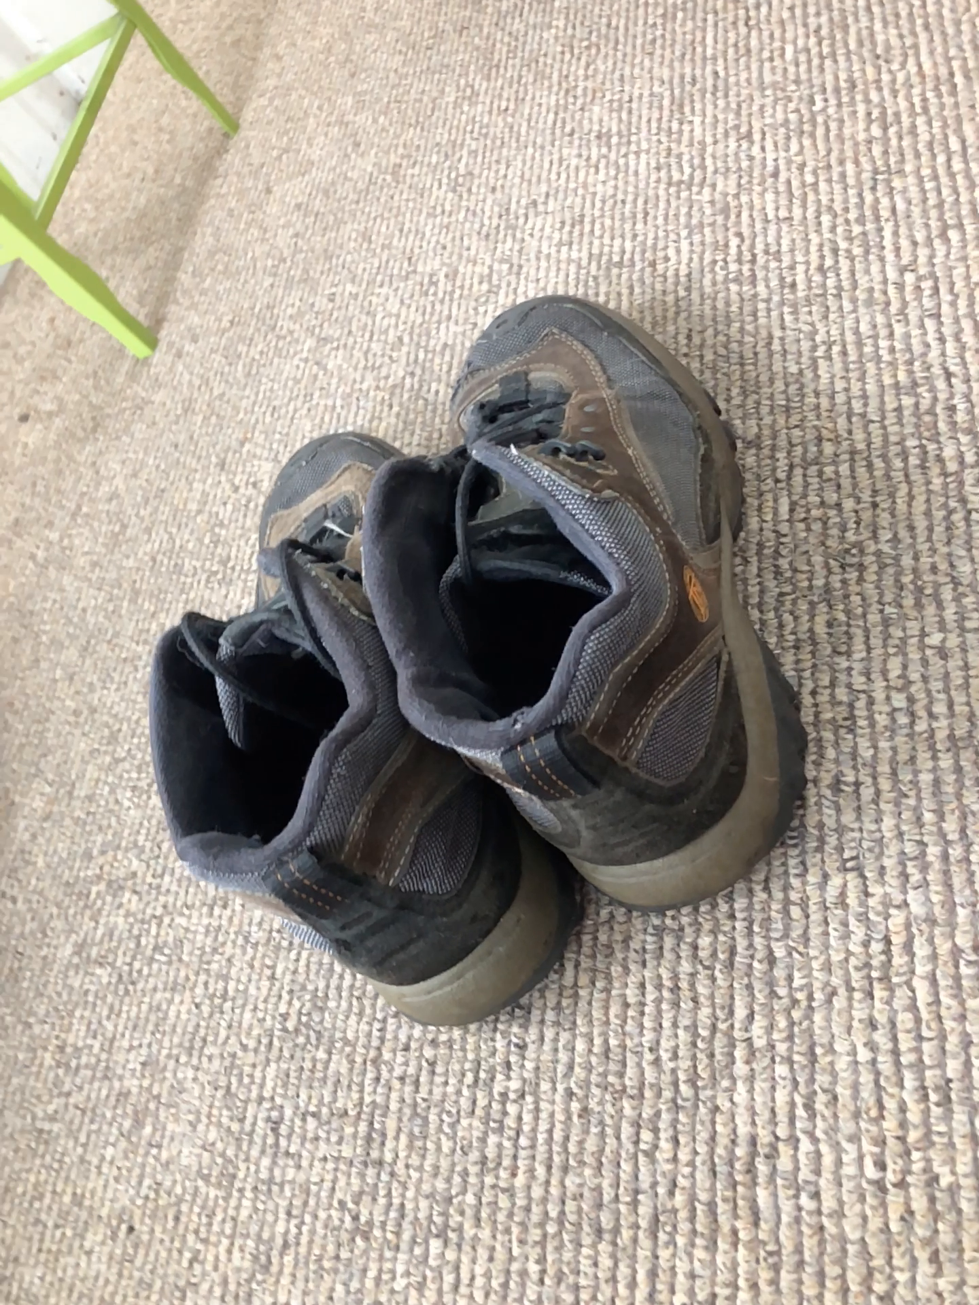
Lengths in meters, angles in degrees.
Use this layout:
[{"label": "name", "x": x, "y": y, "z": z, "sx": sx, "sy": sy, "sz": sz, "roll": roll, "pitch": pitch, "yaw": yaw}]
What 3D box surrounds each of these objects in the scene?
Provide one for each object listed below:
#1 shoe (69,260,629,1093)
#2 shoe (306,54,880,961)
[{"label": "shoe", "x": -0.069, "y": -0.001, "z": 0.425, "sx": 0.116, "sy": 0.135, "sz": 0.281, "roll": -31, "pitch": 49, "yaw": 15}, {"label": "shoe", "x": 0.027, "y": -0.057, "z": 0.394, "sx": 0.118, "sy": 0.137, "sz": 0.281, "roll": -22, "pitch": 51, "yaw": 22}]
